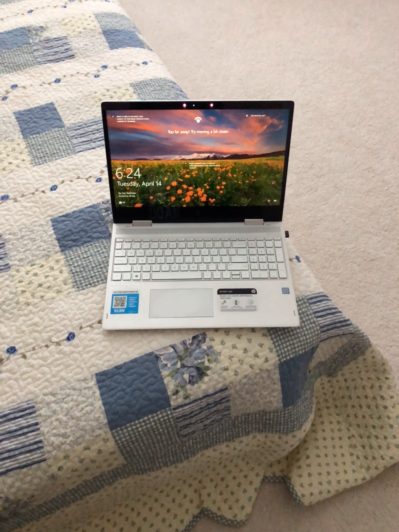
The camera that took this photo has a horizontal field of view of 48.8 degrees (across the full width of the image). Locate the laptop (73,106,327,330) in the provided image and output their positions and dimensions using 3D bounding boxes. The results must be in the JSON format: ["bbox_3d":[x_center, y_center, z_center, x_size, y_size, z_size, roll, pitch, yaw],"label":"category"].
[{"bbox_3d":[-0.003,-0.092,0.802,0.355,0.208,0.358,-1,57,-2],"label":"laptop"}]
